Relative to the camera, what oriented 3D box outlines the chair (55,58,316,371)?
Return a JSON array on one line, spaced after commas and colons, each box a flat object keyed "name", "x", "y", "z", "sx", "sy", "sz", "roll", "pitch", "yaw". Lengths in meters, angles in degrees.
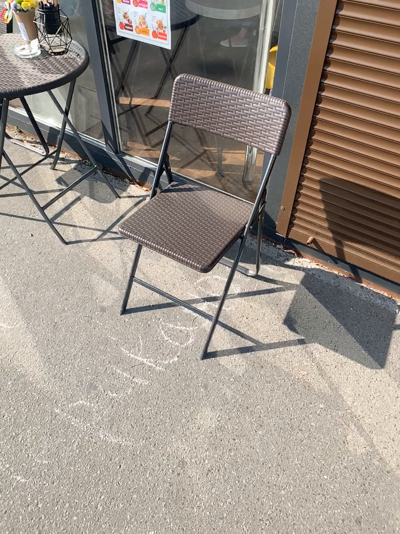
[{"name": "chair", "x": -0.021, "y": -0.179, "z": 1.430, "sx": 0.481, "sy": 0.767, "sz": 0.612, "roll": 25, "pitch": 51, "yaw": 21}]
